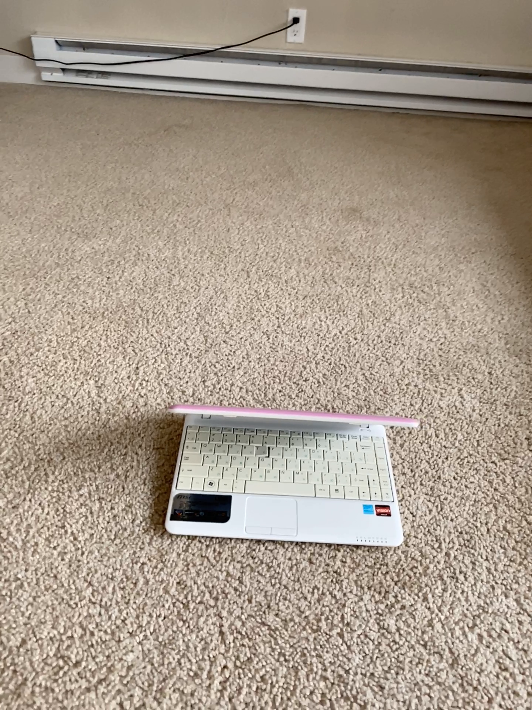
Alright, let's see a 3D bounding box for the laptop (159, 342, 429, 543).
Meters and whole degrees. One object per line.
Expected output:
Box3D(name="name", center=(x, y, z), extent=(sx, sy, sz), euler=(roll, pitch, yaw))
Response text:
Box3D(name="laptop", center=(0.030, 0.105, 0.689), extent=(0.290, 0.125, 0.194), euler=(3, 41, 0))
